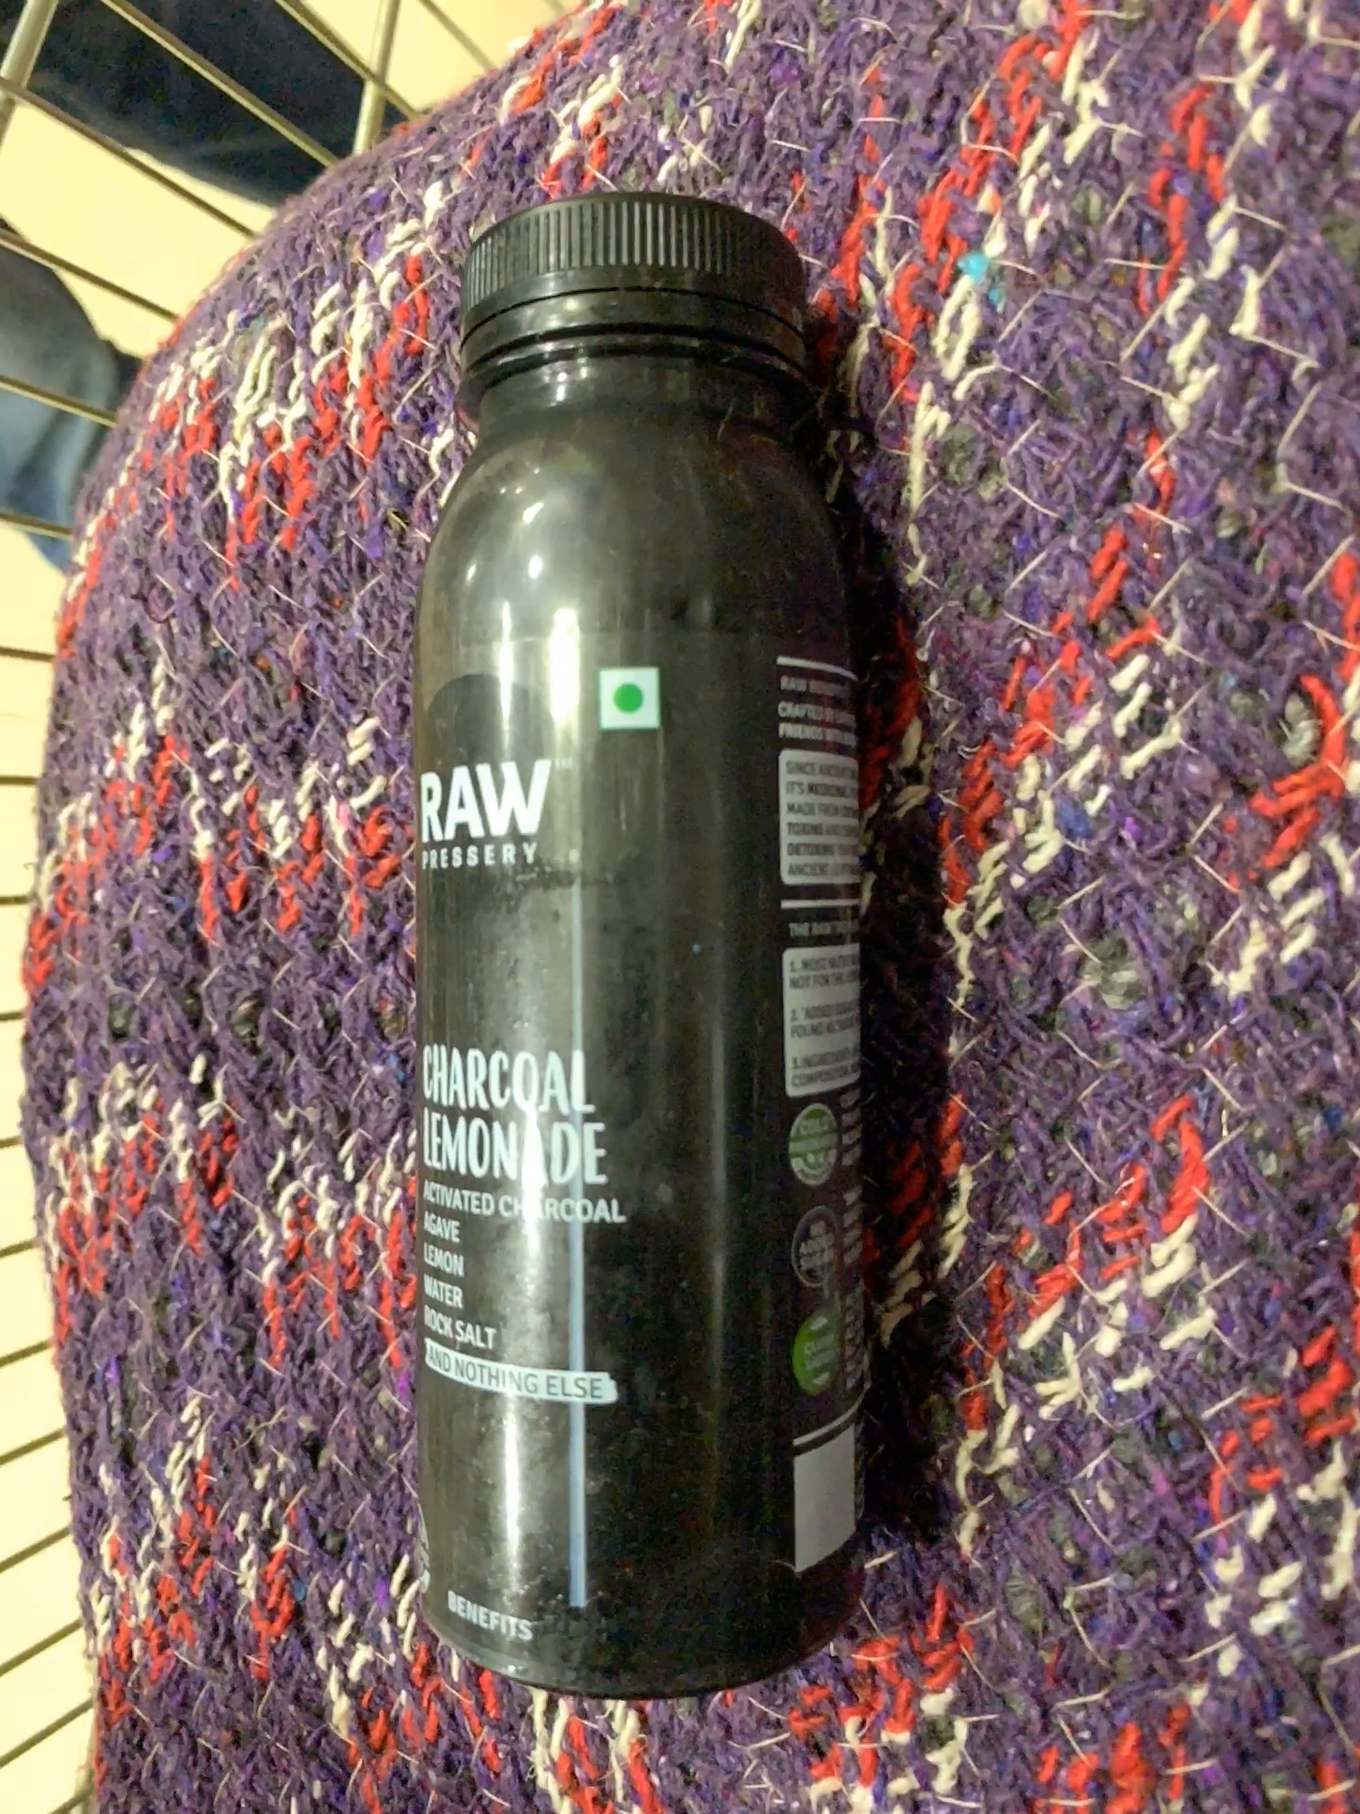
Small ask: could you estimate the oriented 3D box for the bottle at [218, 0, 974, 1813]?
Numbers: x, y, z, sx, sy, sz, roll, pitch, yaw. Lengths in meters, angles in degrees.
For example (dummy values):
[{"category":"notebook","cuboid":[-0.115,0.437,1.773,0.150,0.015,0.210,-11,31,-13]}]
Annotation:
[{"category":"bottle","cuboid":[-0.007,0.004,0.154,0.060,0.050,0.160,1,95,34]}]
